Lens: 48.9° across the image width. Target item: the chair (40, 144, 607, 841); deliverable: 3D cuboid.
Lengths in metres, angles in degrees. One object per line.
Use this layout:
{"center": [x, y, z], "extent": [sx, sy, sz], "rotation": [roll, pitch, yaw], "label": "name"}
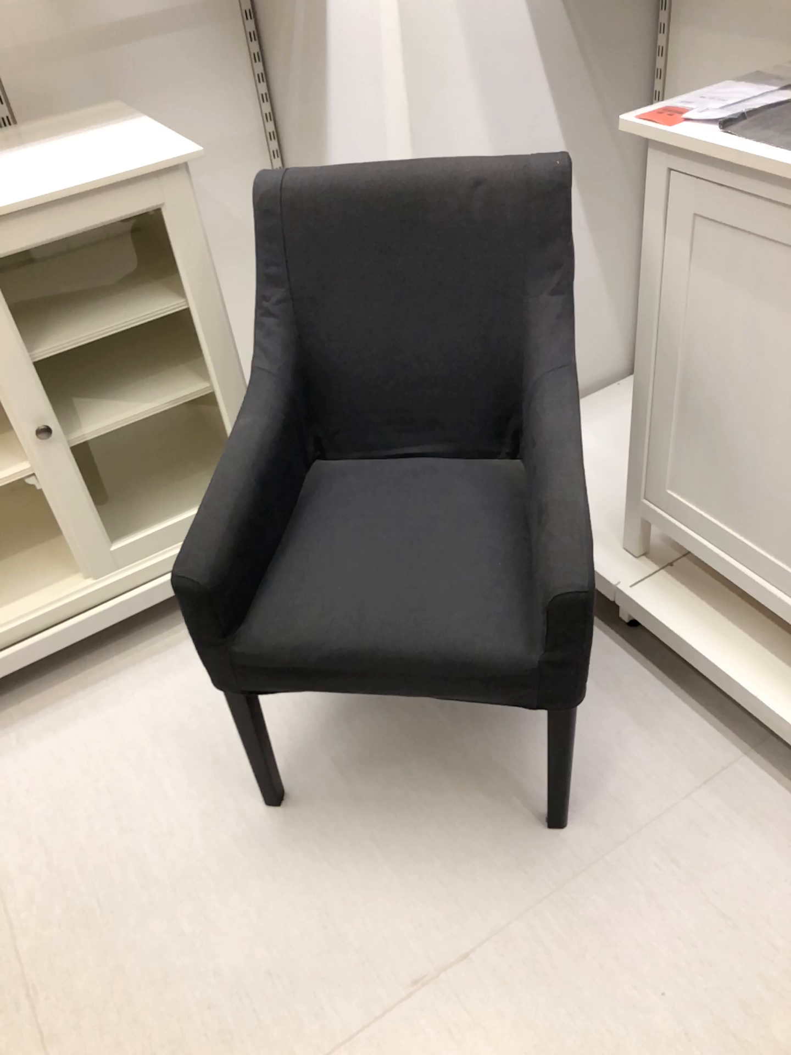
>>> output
{"center": [0.007, -0.045, 1.413], "extent": [0.610, 0.884, 0.624], "rotation": [2, 40, 12], "label": "chair"}
